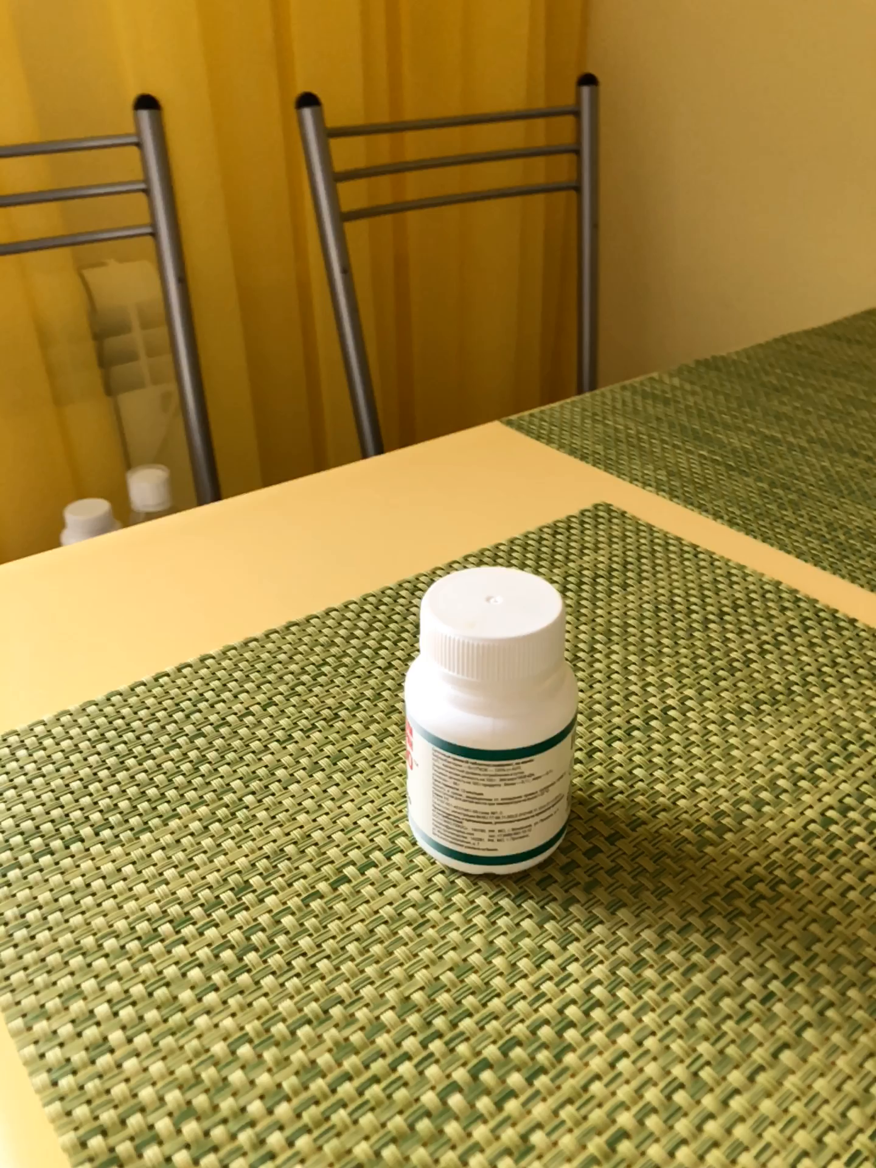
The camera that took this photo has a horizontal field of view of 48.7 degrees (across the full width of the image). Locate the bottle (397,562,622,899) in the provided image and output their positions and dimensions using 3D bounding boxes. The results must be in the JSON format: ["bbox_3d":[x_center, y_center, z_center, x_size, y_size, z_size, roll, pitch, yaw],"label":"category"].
[{"bbox_3d":[0.015,0.038,0.254,0.050,0.070,0.050,0,31,0],"label":"bottle"}]
